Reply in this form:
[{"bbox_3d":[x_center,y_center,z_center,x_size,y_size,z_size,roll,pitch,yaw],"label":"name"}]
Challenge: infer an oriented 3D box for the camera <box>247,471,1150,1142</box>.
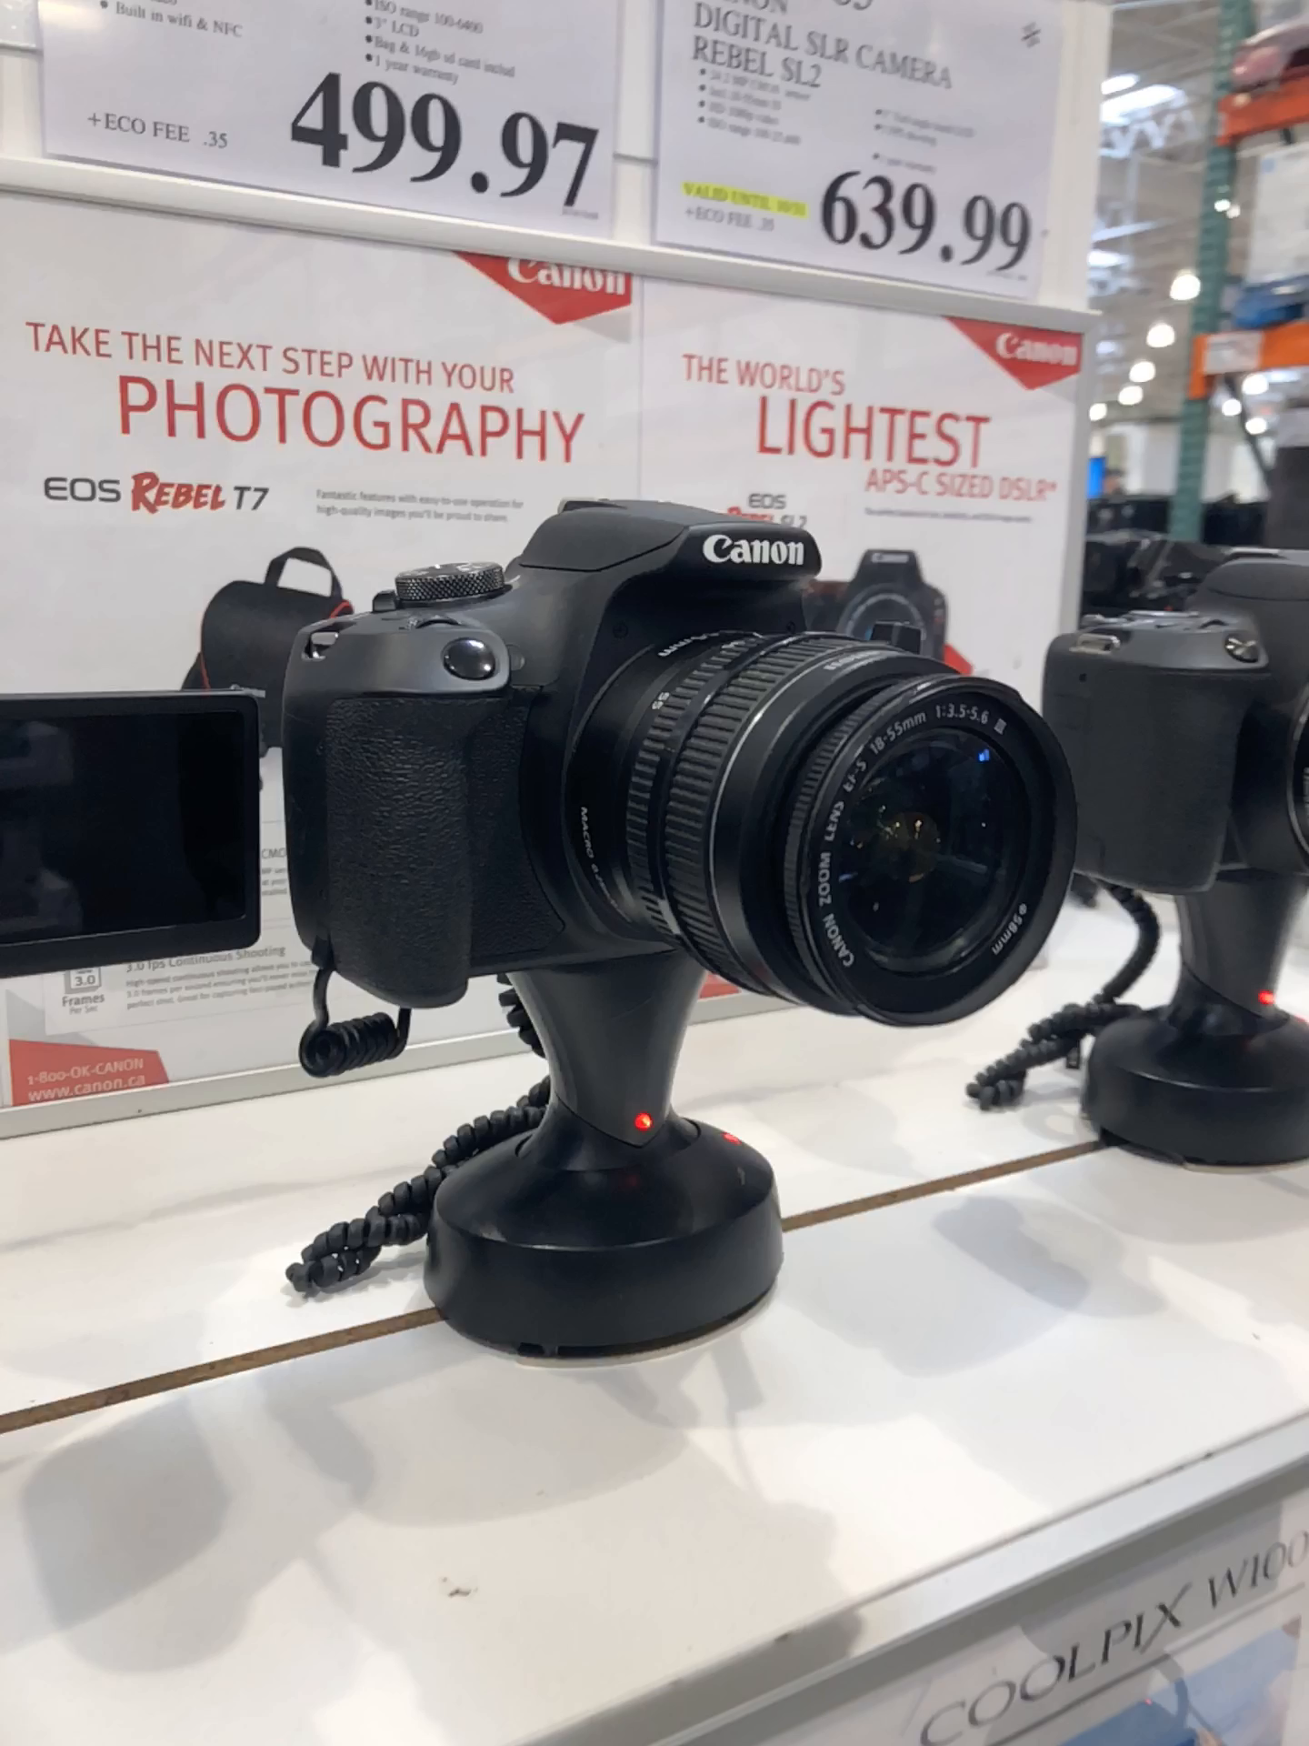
[{"bbox_3d":[-0.002,-0.027,0.303,0.130,0.100,0.140,-5,14,-28],"label":"camera"}]
